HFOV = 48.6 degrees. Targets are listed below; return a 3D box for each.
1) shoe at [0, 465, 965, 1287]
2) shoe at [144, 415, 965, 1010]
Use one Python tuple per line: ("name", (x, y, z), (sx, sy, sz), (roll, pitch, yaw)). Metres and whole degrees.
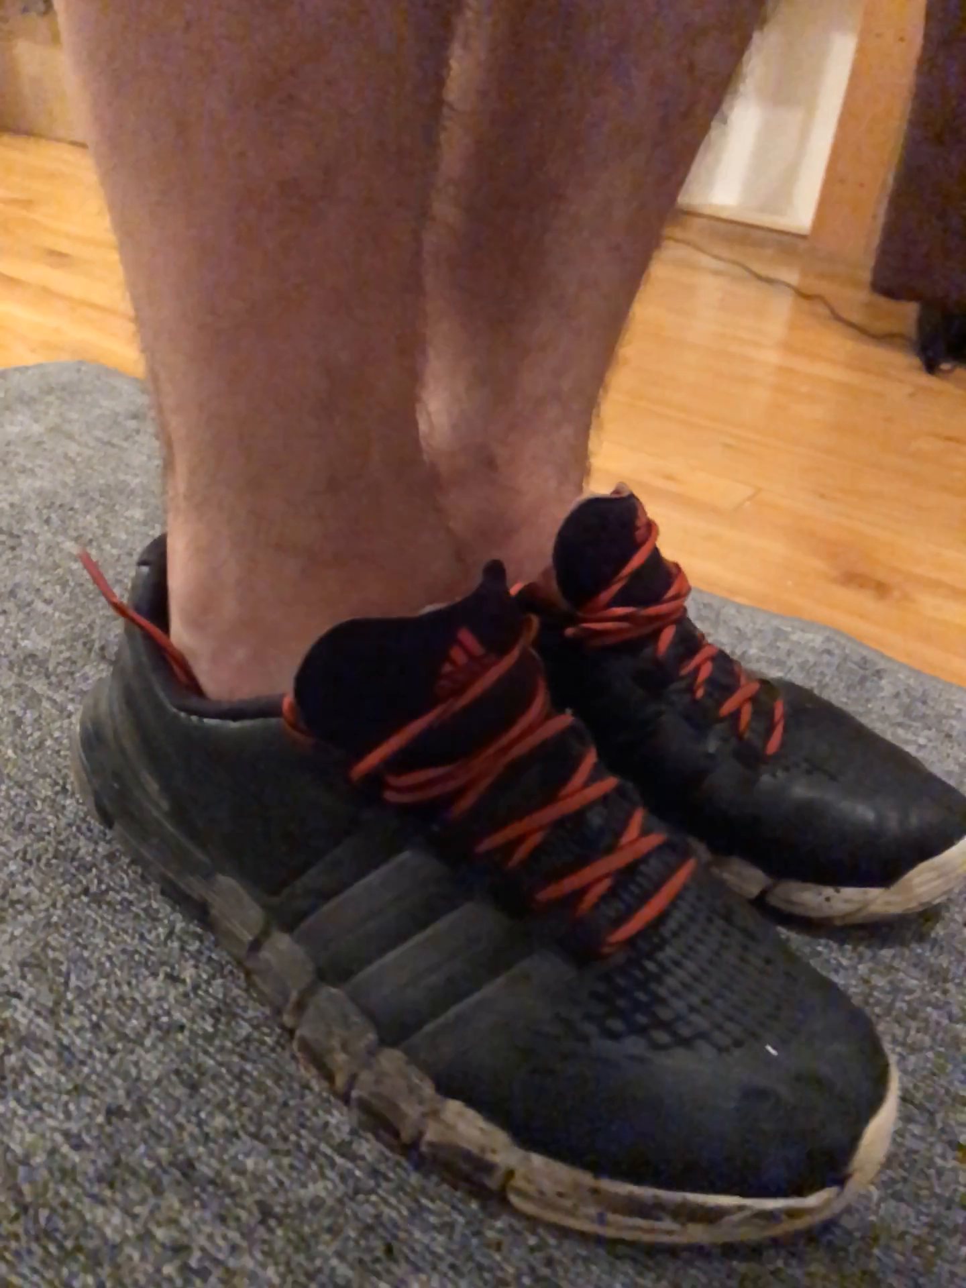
("shoe", (-0.017, 0.051, 0.315), (0.301, 0.099, 0.121), (22, 33, 25))
("shoe", (0.042, 0.005, 0.420), (0.320, 0.089, 0.131), (17, 31, 17))
